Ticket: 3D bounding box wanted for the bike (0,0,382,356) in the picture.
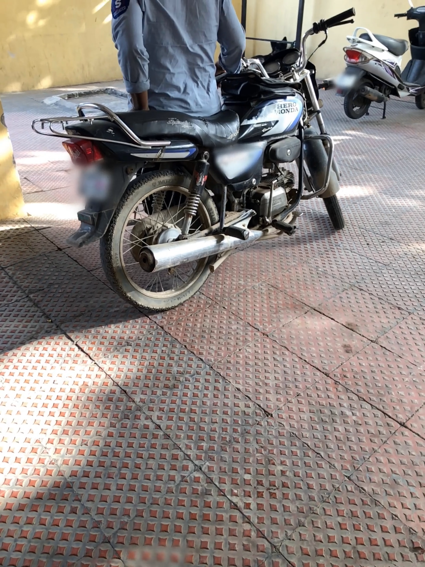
[{"bbox_3d":[-0.038,-0.607,2.068,0.818,1.063,1.305,27,42,35],"label":"bike"}]
